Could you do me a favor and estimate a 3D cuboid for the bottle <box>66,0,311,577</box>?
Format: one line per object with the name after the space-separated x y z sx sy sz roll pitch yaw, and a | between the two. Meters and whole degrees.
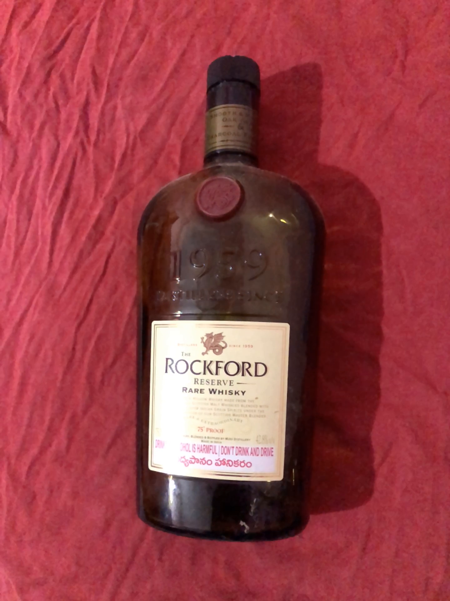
-0.010 -0.014 0.247 0.100 0.060 0.250 0 83 13 | bottle
